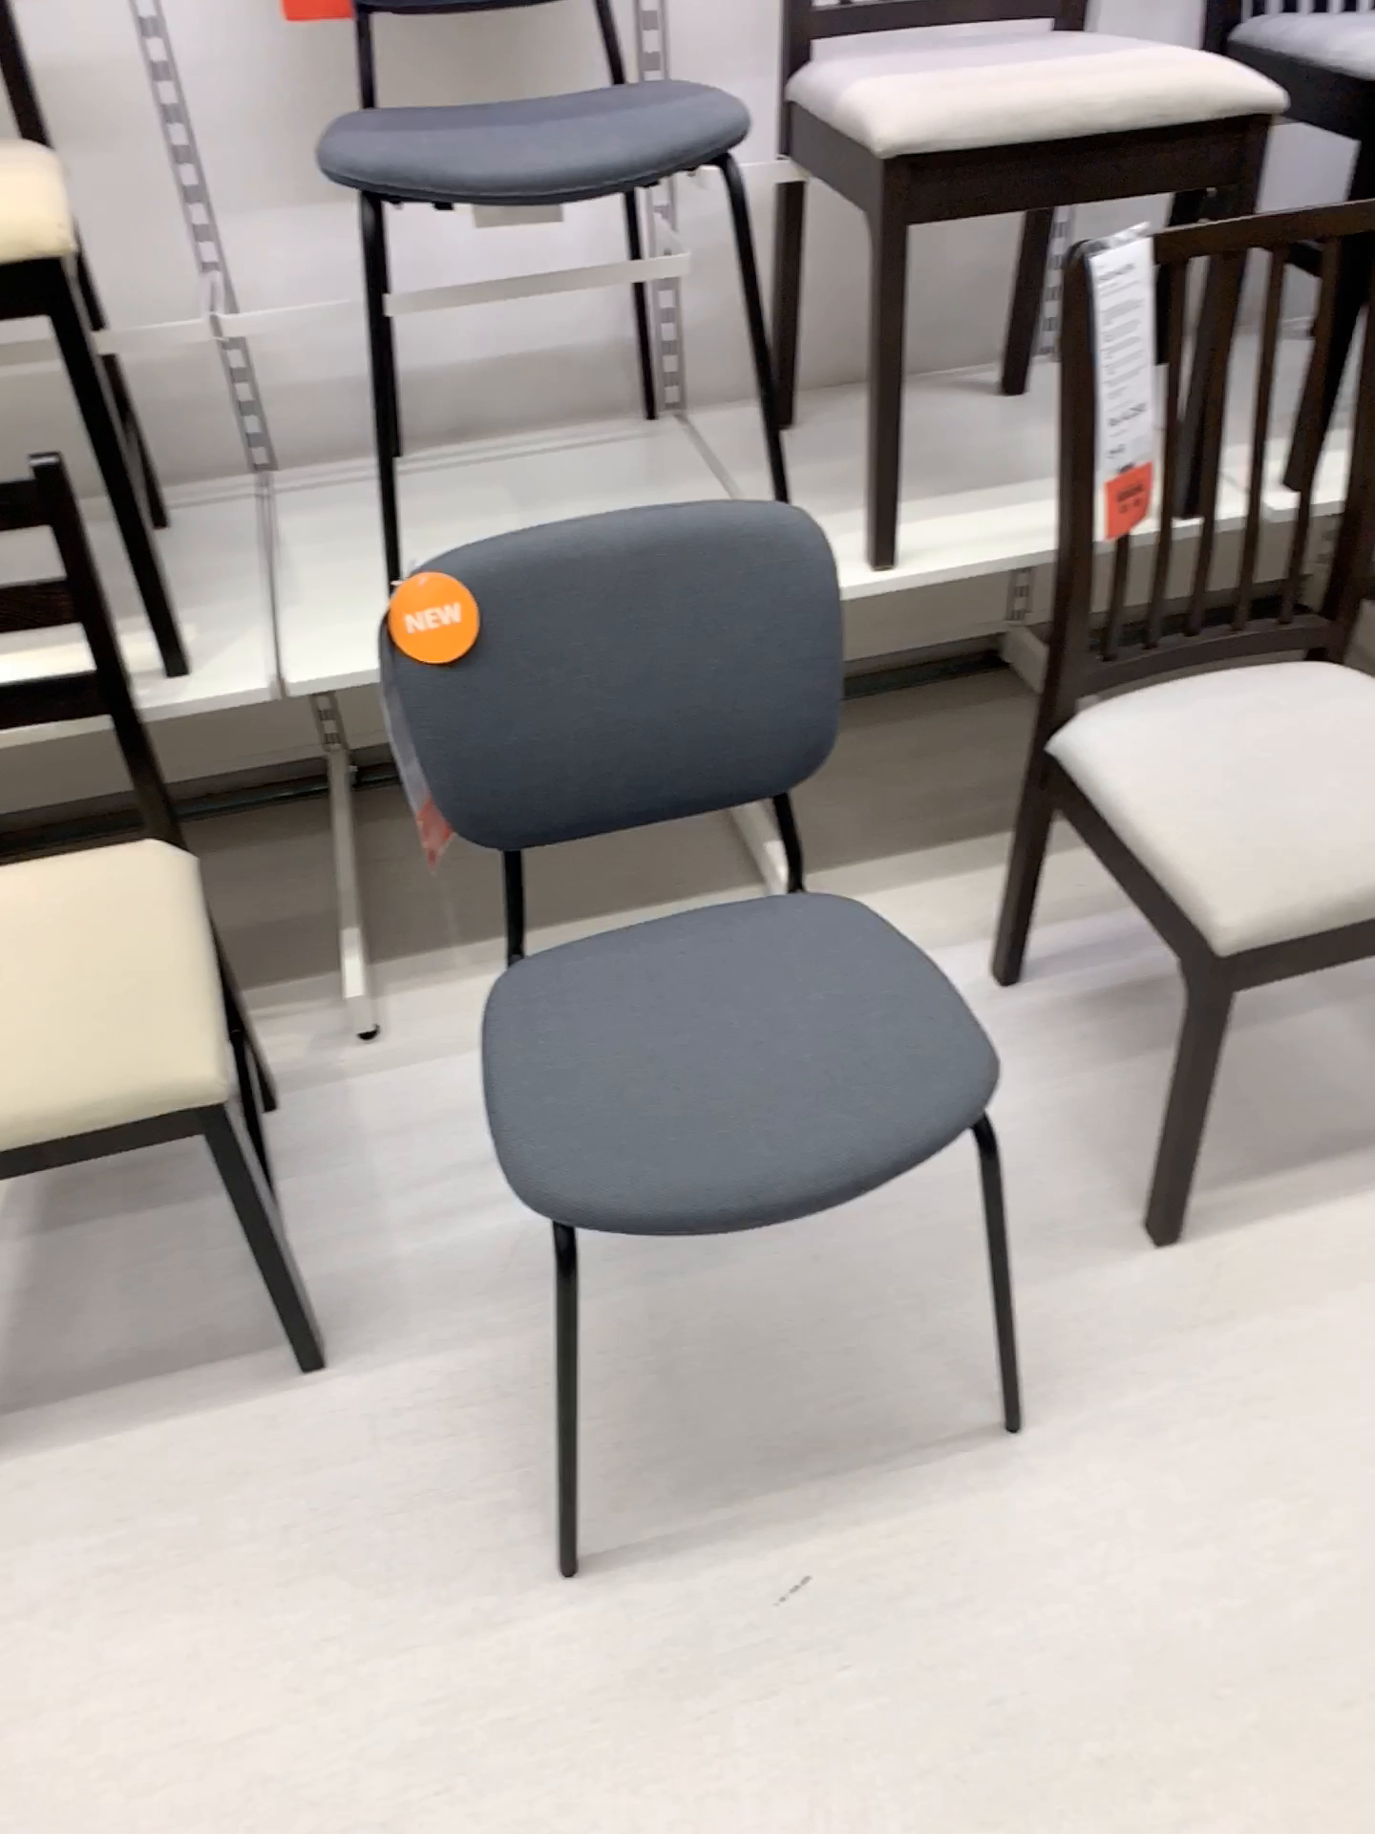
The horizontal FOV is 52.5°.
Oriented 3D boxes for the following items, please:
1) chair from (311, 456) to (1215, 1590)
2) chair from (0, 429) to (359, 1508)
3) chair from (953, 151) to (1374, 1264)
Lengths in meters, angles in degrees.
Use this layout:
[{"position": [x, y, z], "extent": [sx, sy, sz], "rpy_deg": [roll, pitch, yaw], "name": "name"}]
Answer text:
[{"position": [0.022, 0.089, 1.300], "extent": [0.520, 0.757, 0.592], "rpy_deg": [-13, 41, -11], "name": "chair"}, {"position": [-0.665, 0.058, 1.347], "extent": [0.480, 0.807, 0.532], "rpy_deg": [-12, 41, -10], "name": "chair"}, {"position": [0.642, -0.195, 1.448], "extent": [0.480, 0.926, 0.532], "rpy_deg": [-13, 41, -11], "name": "chair"}]
